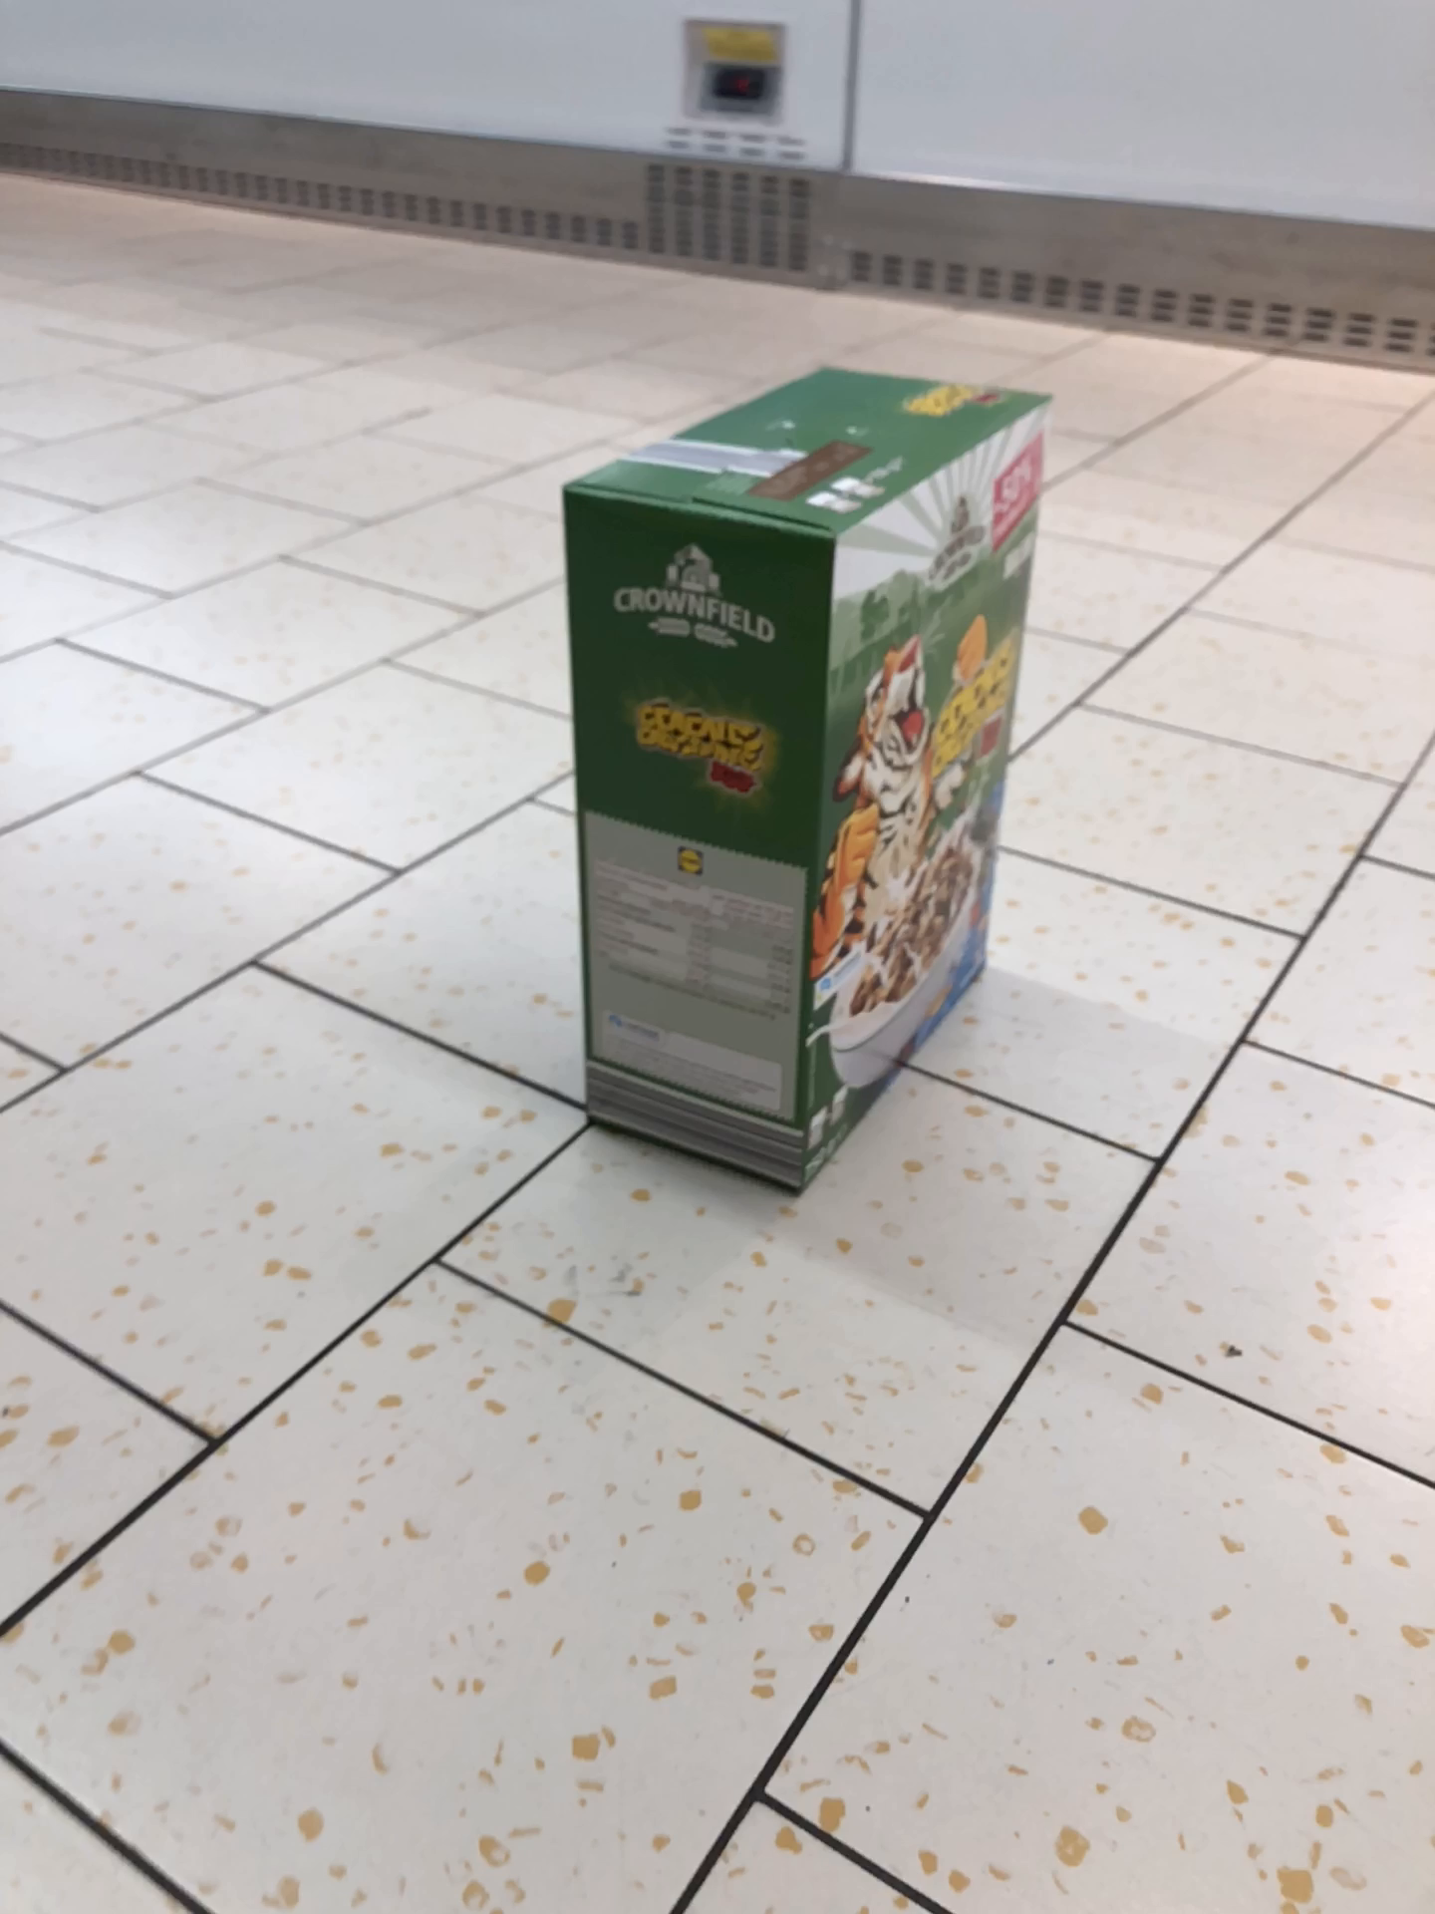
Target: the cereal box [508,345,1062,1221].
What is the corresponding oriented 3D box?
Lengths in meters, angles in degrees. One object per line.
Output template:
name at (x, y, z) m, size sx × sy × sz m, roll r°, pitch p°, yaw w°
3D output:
cereal box at (0.031, -0.077, 0.616) m, size 0.110 × 0.258 × 0.211 m, roll 16°, pitch 35°, yaw 23°
